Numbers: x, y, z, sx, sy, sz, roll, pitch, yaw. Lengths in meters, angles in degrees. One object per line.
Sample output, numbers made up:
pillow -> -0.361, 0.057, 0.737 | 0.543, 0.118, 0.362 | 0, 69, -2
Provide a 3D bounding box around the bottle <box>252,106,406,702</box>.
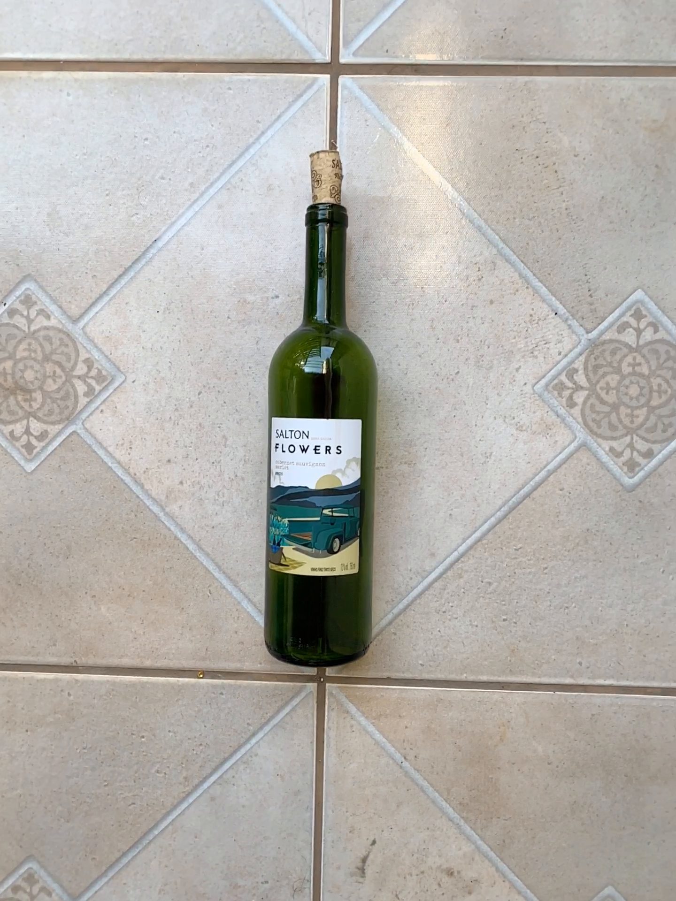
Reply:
bottle -> -0.004, -0.026, 0.454 | 0.080, 0.080, 0.350 | 2, 95, 10
